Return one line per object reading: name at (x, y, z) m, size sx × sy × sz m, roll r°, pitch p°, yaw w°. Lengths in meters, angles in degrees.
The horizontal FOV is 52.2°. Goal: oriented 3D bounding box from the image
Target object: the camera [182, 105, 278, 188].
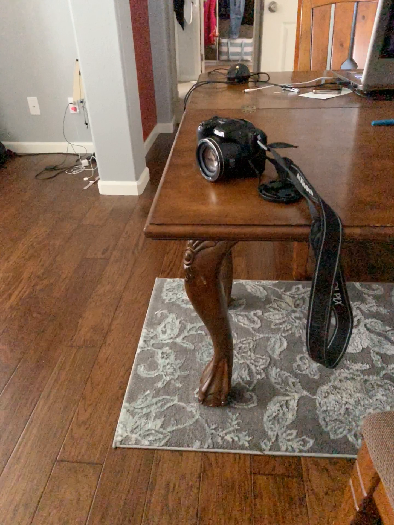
camera at (0.046, -0.178, 0.602) m, size 0.090 × 0.079 × 0.111 m, roll -20°, pitch 38°, yaw -26°
